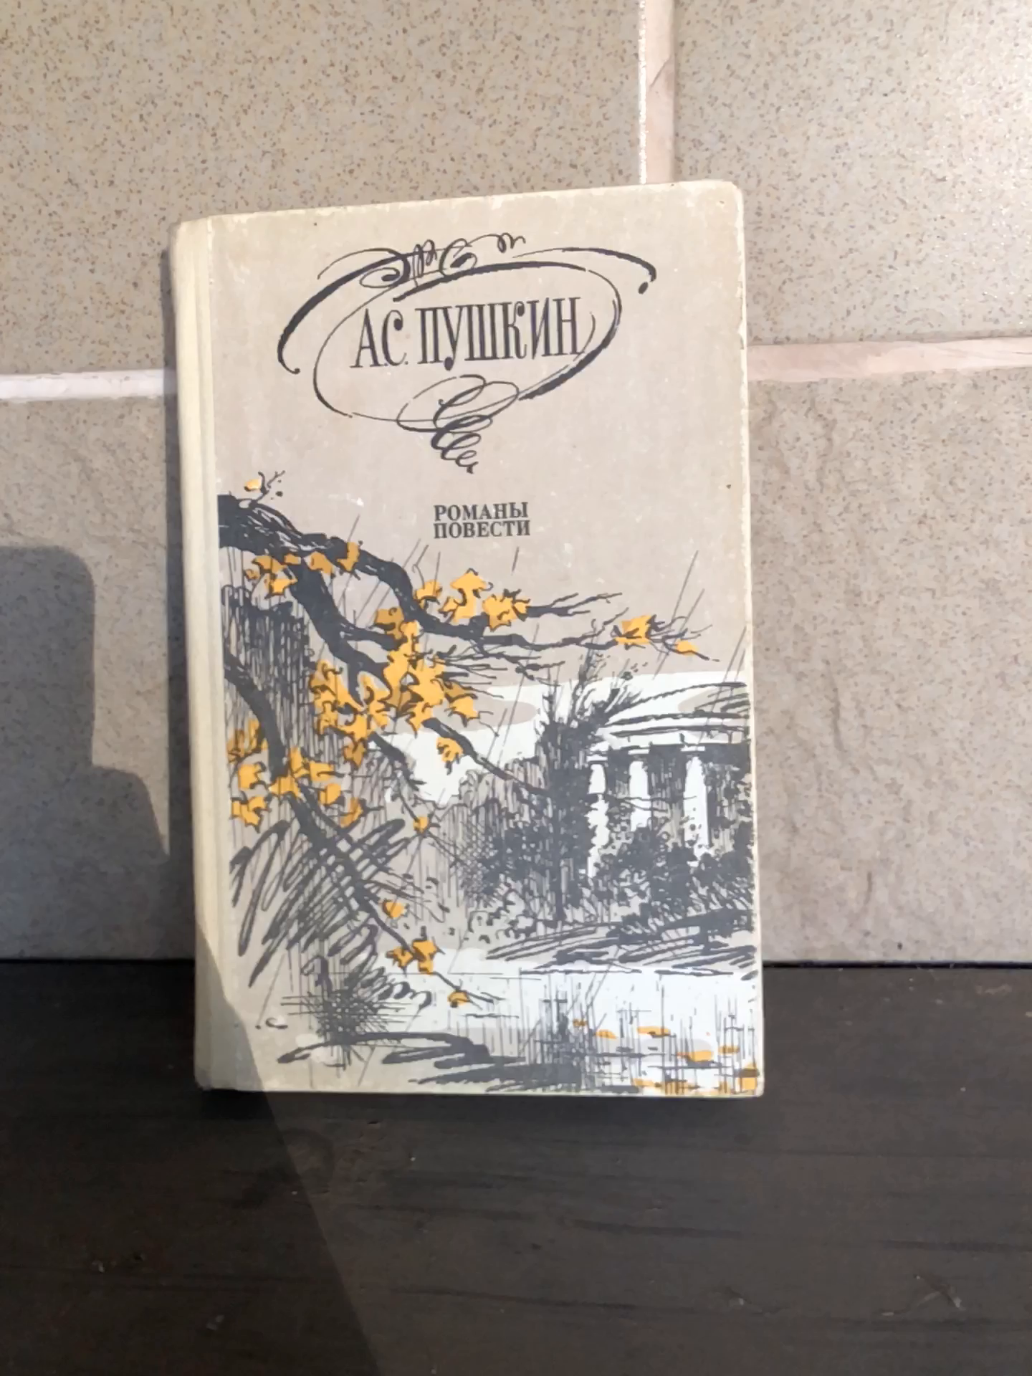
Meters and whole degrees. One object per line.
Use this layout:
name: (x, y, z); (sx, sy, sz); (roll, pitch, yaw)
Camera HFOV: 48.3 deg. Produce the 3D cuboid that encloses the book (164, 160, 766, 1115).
book: (-0.009, -0.009, 0.264); (0.125, 0.197, 0.040); (-1, 2, 6)
